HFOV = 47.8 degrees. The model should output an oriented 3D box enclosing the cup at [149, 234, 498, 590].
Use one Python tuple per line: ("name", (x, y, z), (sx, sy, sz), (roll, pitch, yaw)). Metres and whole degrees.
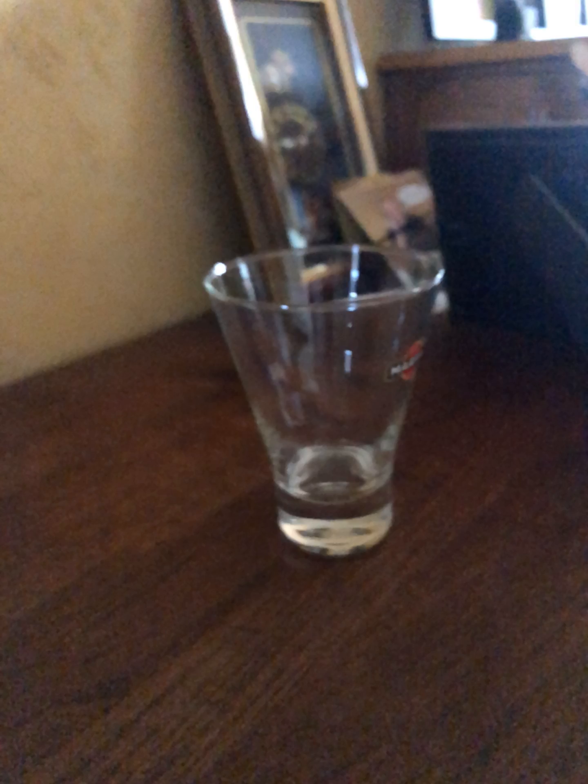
("cup", (0.017, -0.002, 0.270), (0.100, 0.099, 0.090), (11, 28, 30))
